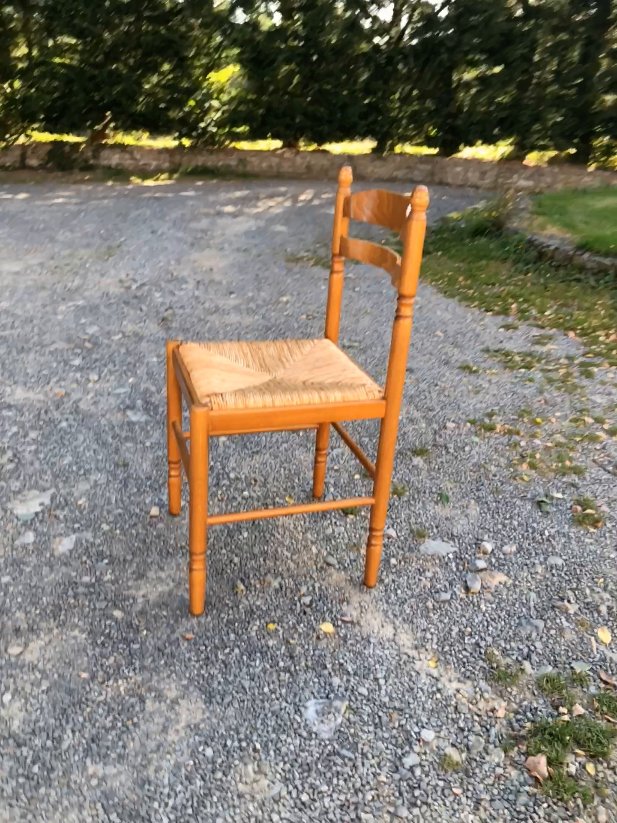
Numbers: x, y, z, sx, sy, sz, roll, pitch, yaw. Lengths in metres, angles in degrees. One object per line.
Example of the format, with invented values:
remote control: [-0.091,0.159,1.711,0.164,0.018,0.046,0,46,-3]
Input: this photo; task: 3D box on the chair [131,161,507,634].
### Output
chair: [-0.030,-0.075,1.334,0.521,0.736,0.512,-7,27,-17]
